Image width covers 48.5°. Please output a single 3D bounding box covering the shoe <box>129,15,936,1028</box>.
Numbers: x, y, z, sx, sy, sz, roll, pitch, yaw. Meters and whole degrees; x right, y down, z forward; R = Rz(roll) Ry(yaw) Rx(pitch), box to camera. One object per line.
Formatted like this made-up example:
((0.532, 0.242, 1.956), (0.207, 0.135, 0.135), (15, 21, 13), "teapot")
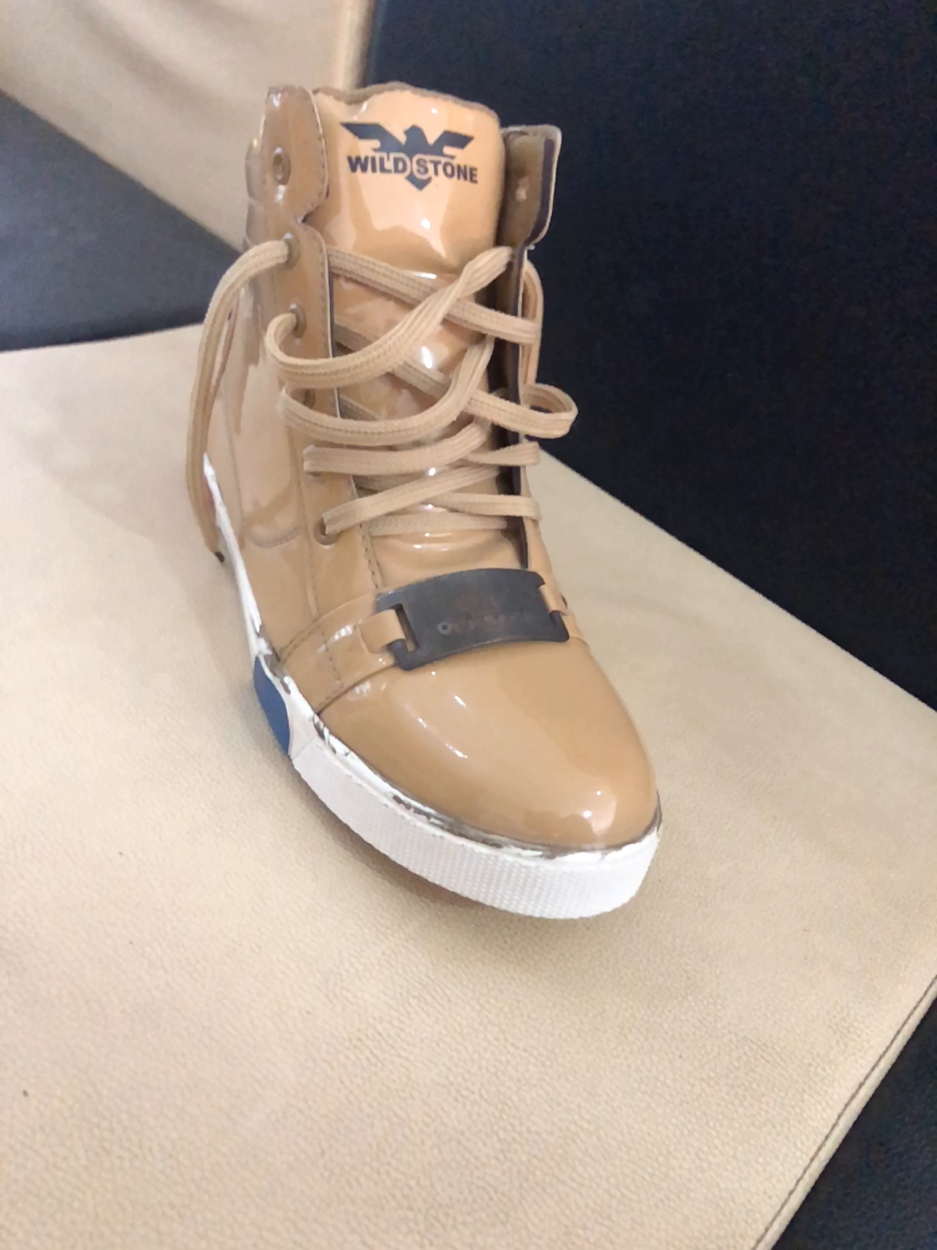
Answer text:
((-0.017, -0.057, 0.322), (0.100, 0.159, 0.281), (-9, 43, -29), "shoe")
